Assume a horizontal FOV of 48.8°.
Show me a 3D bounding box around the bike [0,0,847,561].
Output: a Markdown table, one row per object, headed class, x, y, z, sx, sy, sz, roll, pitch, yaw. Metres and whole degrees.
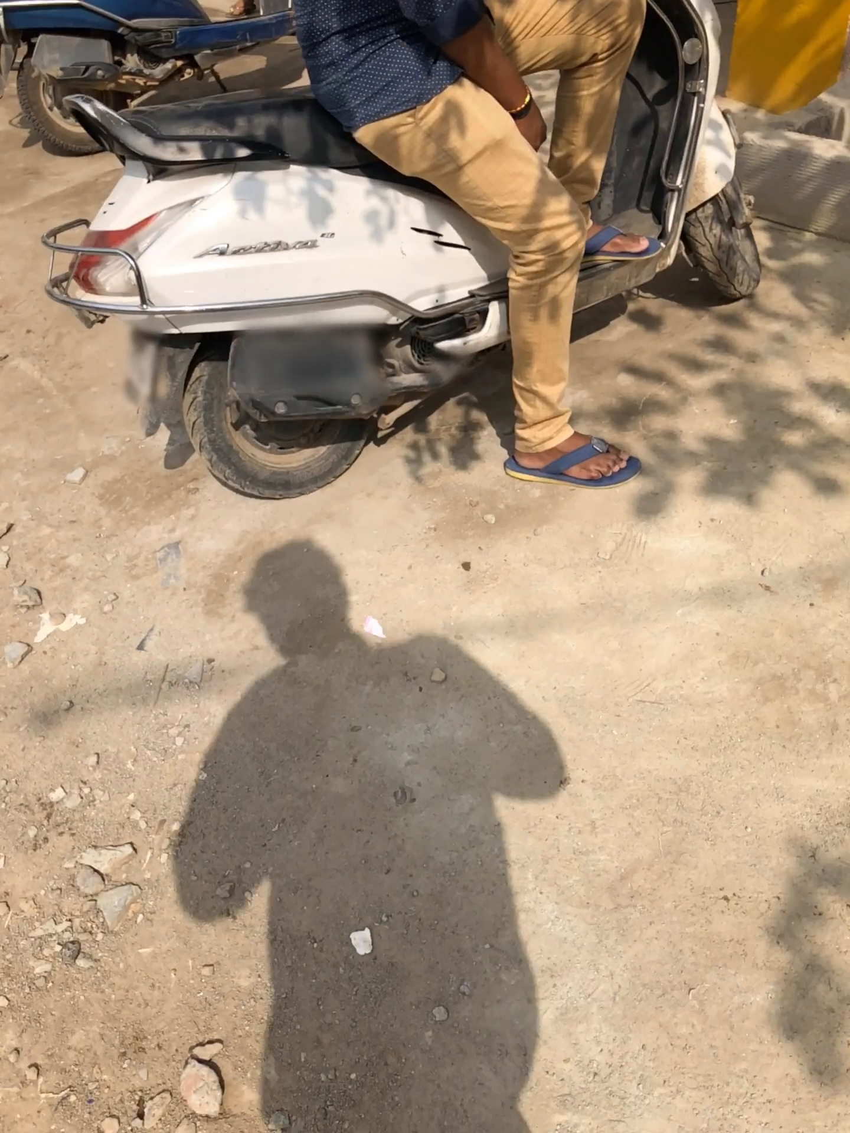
| class | x | y | z | sx | sy | sz | roll | pitch | yaw |
| --- | --- | --- | --- | --- | --- | --- | --- | --- | --- |
| bike | 0.031 | -0.977 | 2.085 | 1.598 | 1.187 | 0.623 | -29 | 49 | -21 |
